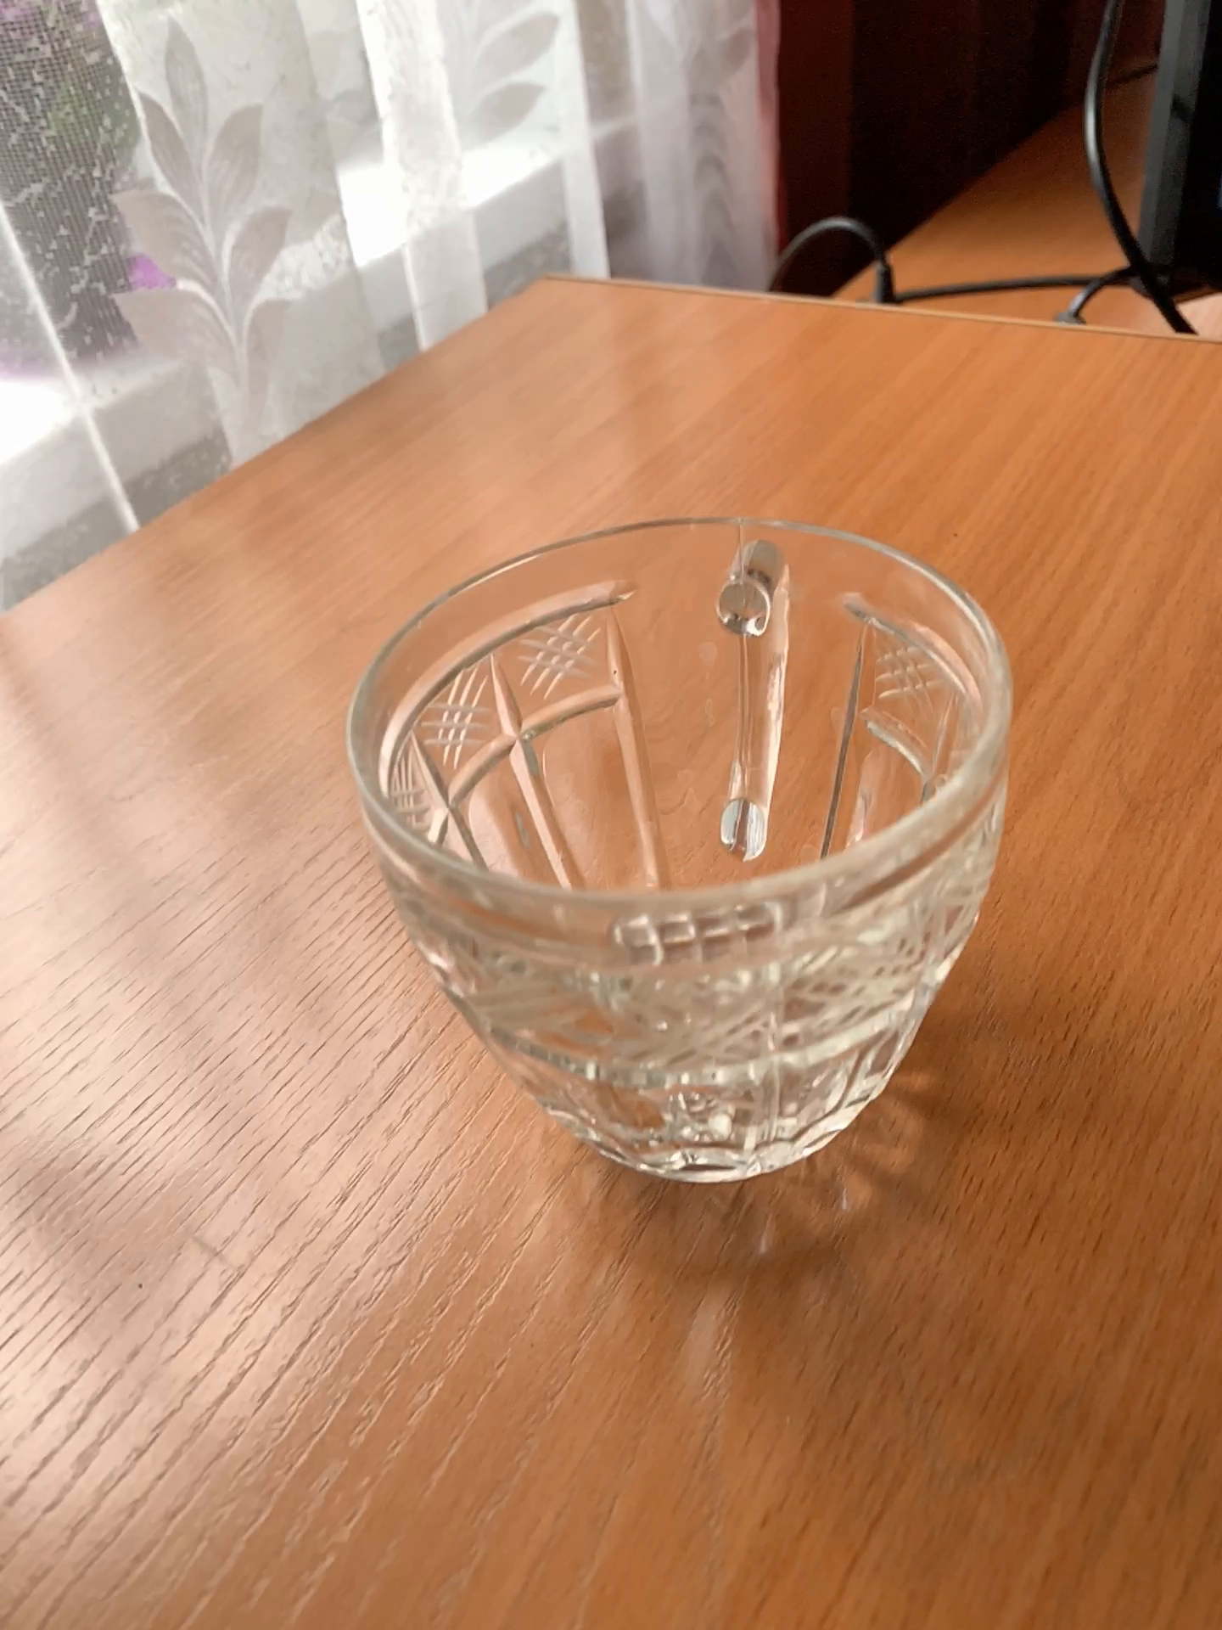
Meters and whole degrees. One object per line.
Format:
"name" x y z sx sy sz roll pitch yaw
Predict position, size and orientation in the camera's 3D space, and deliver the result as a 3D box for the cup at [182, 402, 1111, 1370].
"cup" 0.014 0.000 0.175 0.082 0.066 0.101 12 45 19
